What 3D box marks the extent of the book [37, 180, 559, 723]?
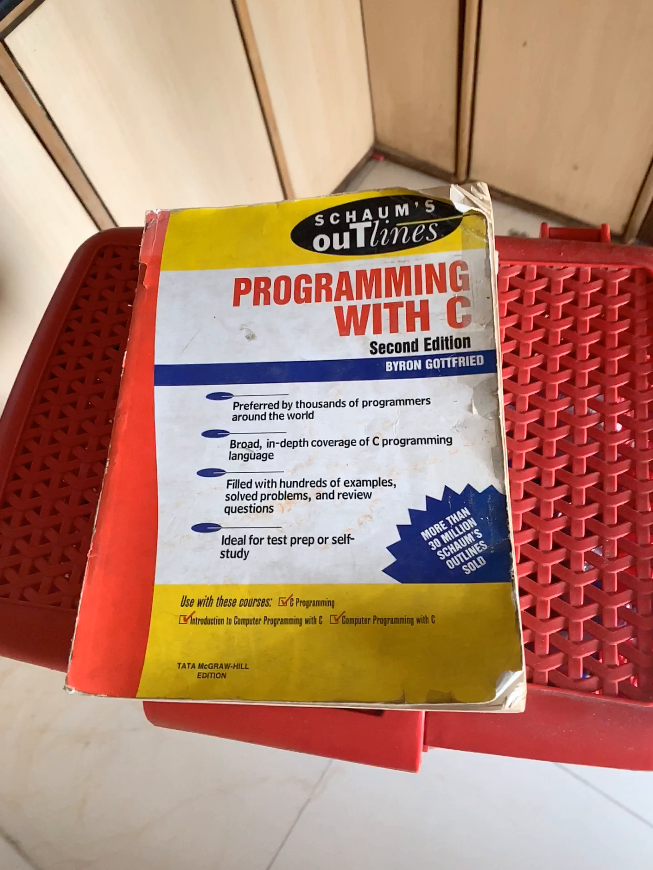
[{"bbox_3d":[-0.008,-0.002,0.326,0.200,0.050,0.251,-1,66,9],"label":"book"}]
